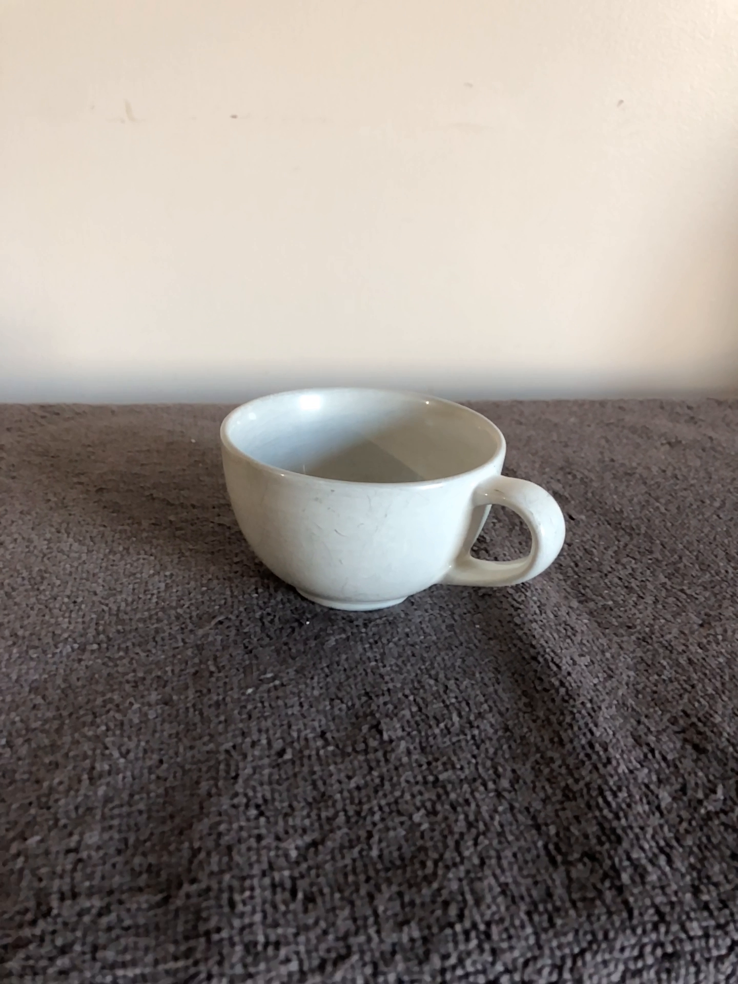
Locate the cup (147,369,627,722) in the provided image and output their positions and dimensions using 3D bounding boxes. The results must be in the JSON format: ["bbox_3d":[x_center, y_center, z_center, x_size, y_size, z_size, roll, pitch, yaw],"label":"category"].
[{"bbox_3d":[0.005,0.005,0.267,0.120,0.050,0.090,19,29,32],"label":"cup"}]
